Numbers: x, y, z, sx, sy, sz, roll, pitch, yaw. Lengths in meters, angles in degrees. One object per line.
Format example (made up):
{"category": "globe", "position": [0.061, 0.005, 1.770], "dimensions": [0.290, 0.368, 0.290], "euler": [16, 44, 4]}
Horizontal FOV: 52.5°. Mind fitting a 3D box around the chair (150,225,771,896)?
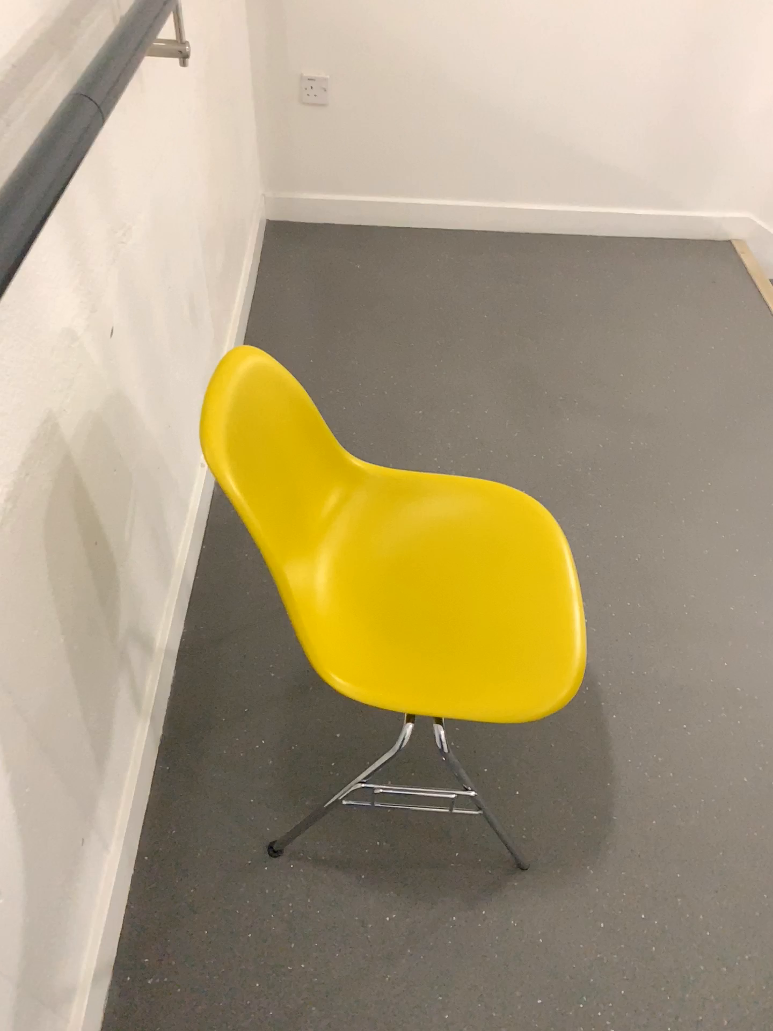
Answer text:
{"category": "chair", "position": [0.051, 0.112, 1.197], "dimensions": [0.540, 0.822, 0.636], "euler": [2, 48, -2]}
